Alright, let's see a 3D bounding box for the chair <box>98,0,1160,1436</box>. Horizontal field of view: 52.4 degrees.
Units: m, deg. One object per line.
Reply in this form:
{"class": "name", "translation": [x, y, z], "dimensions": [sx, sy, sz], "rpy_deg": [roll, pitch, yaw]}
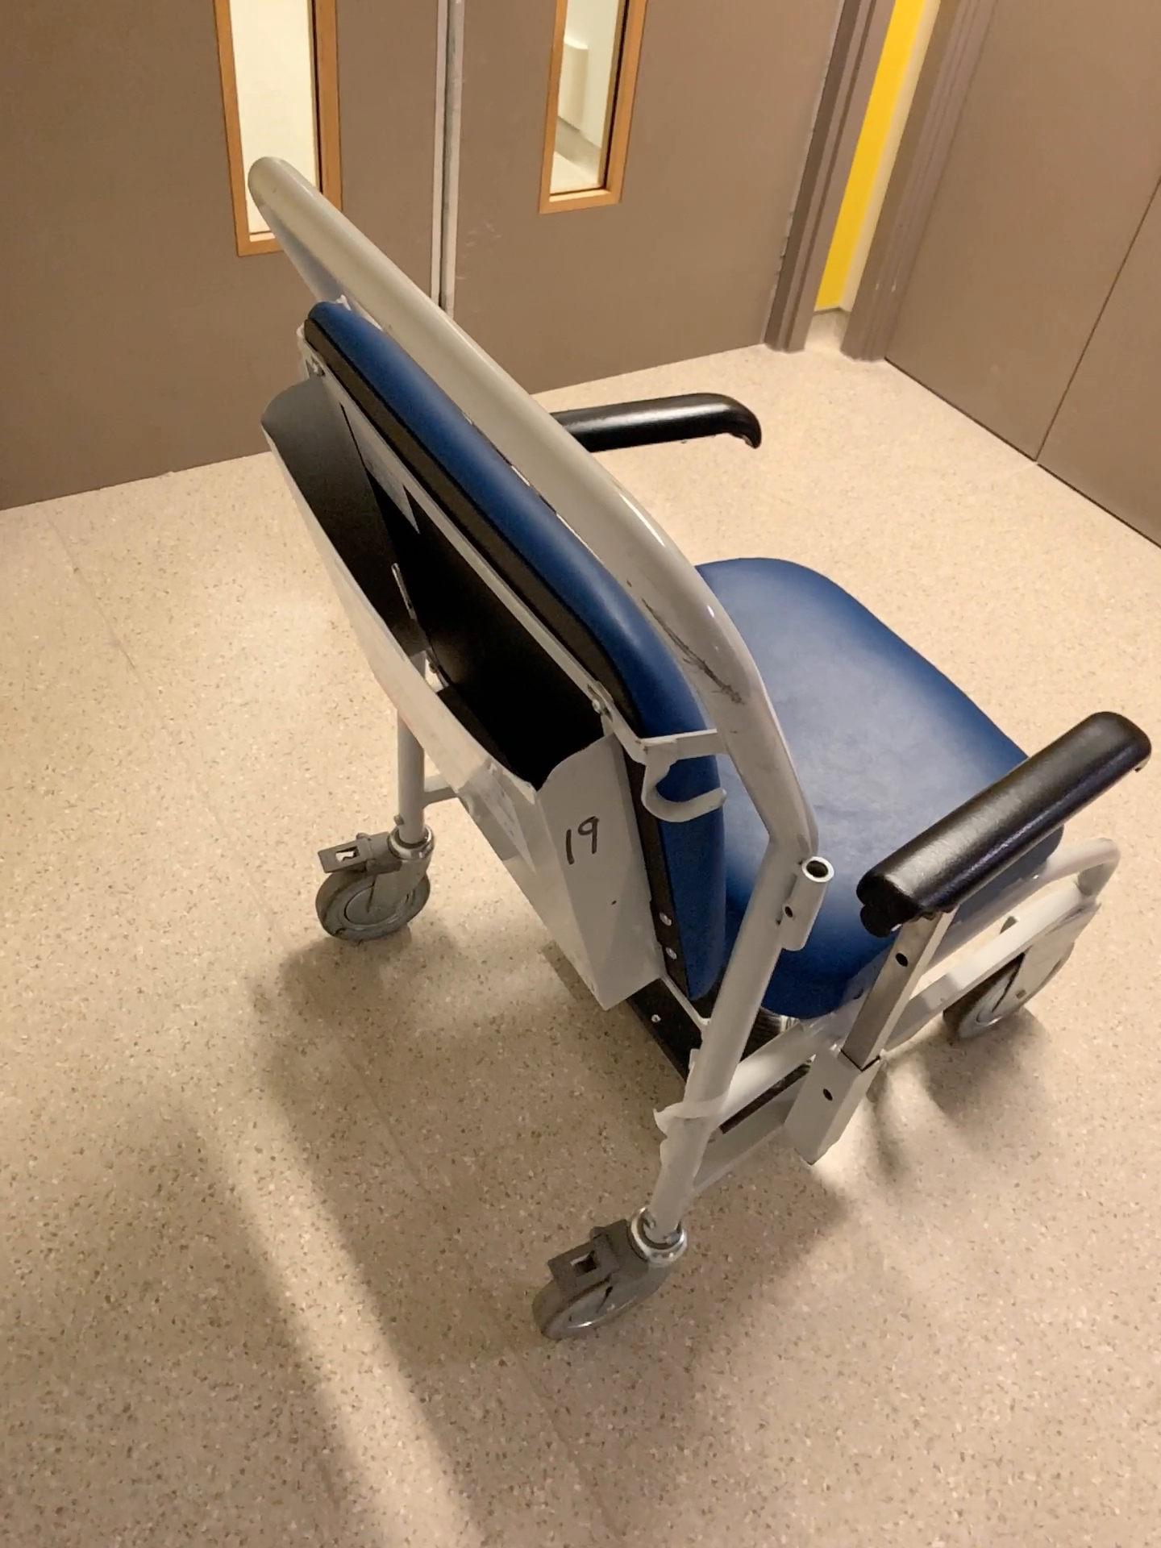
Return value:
{"class": "chair", "translation": [0.183, -0.101, 1.246], "dimensions": [0.943, 1.031, 0.825], "rpy_deg": [-19, 53, -25]}
